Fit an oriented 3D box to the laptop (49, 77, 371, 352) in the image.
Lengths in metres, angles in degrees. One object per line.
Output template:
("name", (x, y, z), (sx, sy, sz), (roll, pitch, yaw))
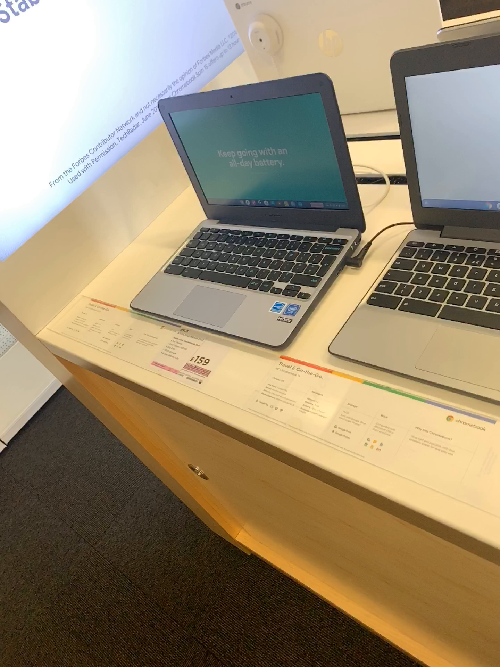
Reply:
("laptop", (-0.047, -0.151, 0.627), (0.281, 0.183, 0.216), (15, 57, 41))
